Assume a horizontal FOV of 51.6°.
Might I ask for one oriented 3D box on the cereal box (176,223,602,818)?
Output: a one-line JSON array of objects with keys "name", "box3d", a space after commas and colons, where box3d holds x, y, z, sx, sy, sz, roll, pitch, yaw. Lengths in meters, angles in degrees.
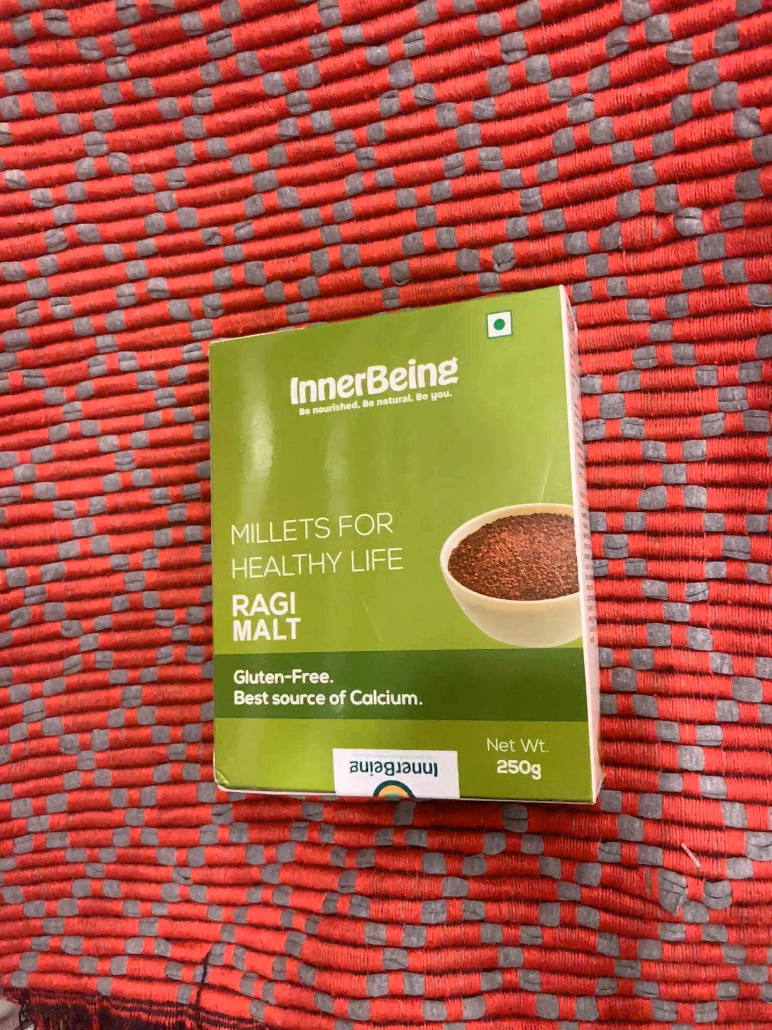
[{"name": "cereal box", "box3d": [-0.001, 0.005, 0.271, 0.130, 0.050, 0.170, -4, 82, 19]}]
